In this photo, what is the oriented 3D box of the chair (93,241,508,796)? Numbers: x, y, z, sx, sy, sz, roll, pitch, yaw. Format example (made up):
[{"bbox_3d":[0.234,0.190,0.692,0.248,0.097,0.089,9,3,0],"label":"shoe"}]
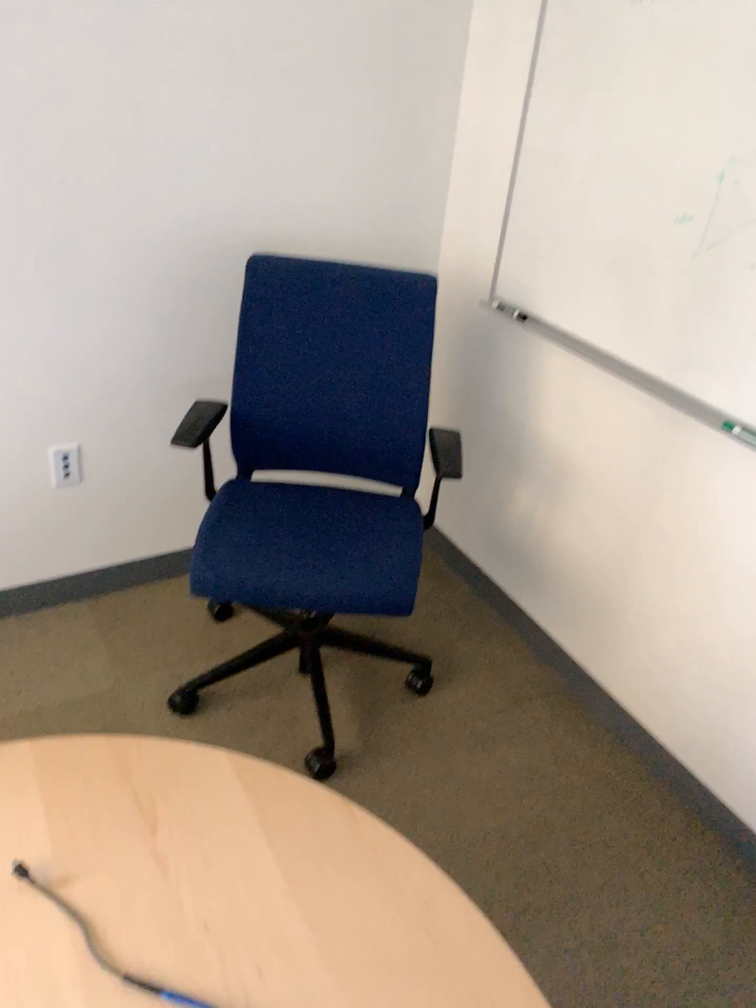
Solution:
[{"bbox_3d":[-0.127,-0.028,2.020,0.740,0.994,0.986,8,31,3],"label":"chair"}]
